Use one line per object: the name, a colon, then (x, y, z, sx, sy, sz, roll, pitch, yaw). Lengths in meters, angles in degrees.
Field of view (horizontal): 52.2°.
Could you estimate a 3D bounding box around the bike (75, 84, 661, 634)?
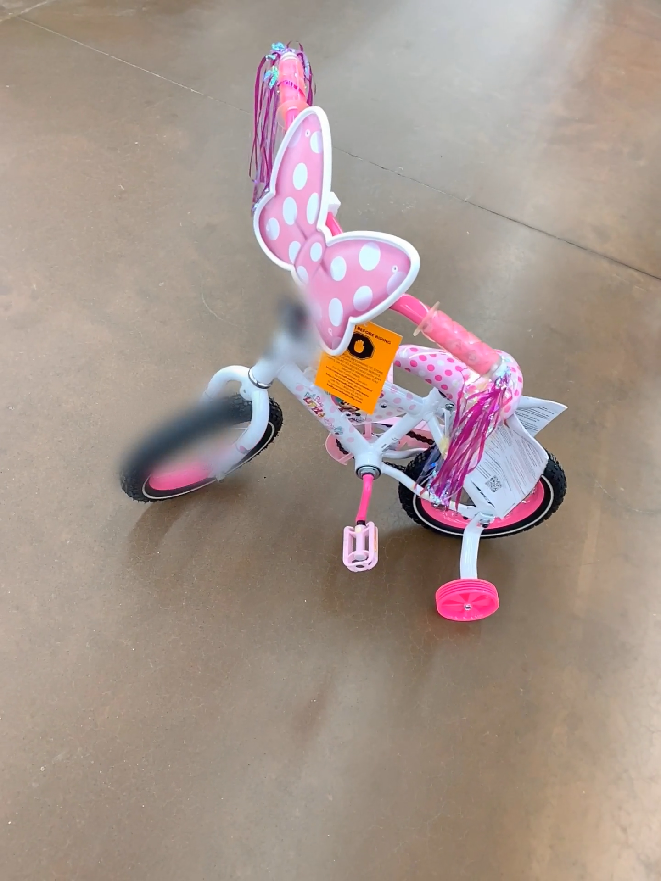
bike: (0.067, -0.057, 1.039, 0.776, 0.707, 0.429, 3, 50, -8)
